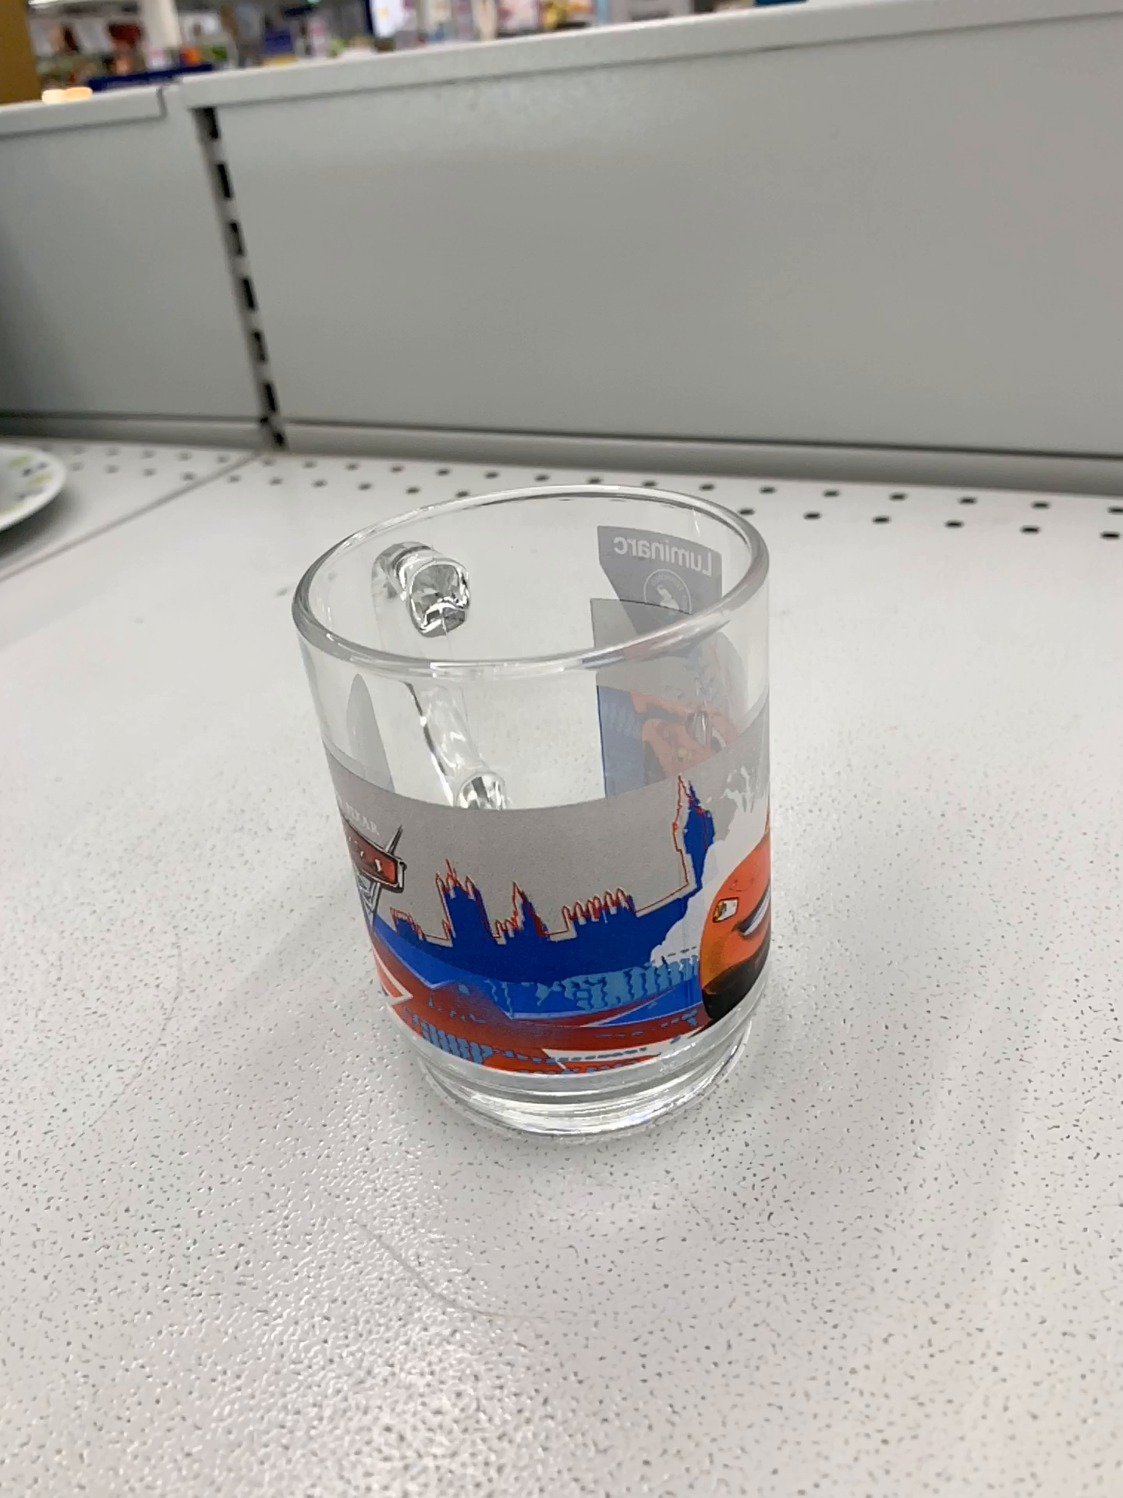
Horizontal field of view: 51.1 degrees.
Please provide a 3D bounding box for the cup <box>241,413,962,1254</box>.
[{"bbox_3d":[0.000,0.002,0.192,0.072,0.081,0.102,-16,31,-16],"label":"cup"}]
